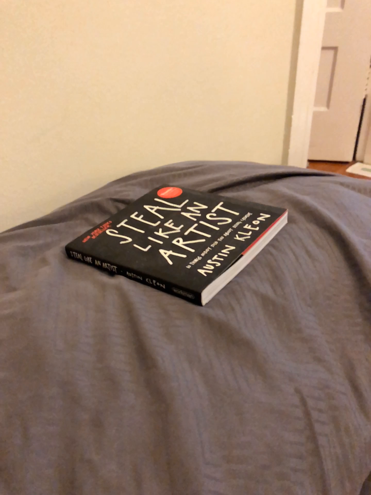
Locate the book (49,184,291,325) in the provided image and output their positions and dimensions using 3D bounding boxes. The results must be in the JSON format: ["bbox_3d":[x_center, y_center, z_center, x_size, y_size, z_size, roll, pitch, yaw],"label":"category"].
[{"bbox_3d":[-0.010,-0.009,0.384,0.160,0.020,0.161,17,37,32],"label":"book"}]
